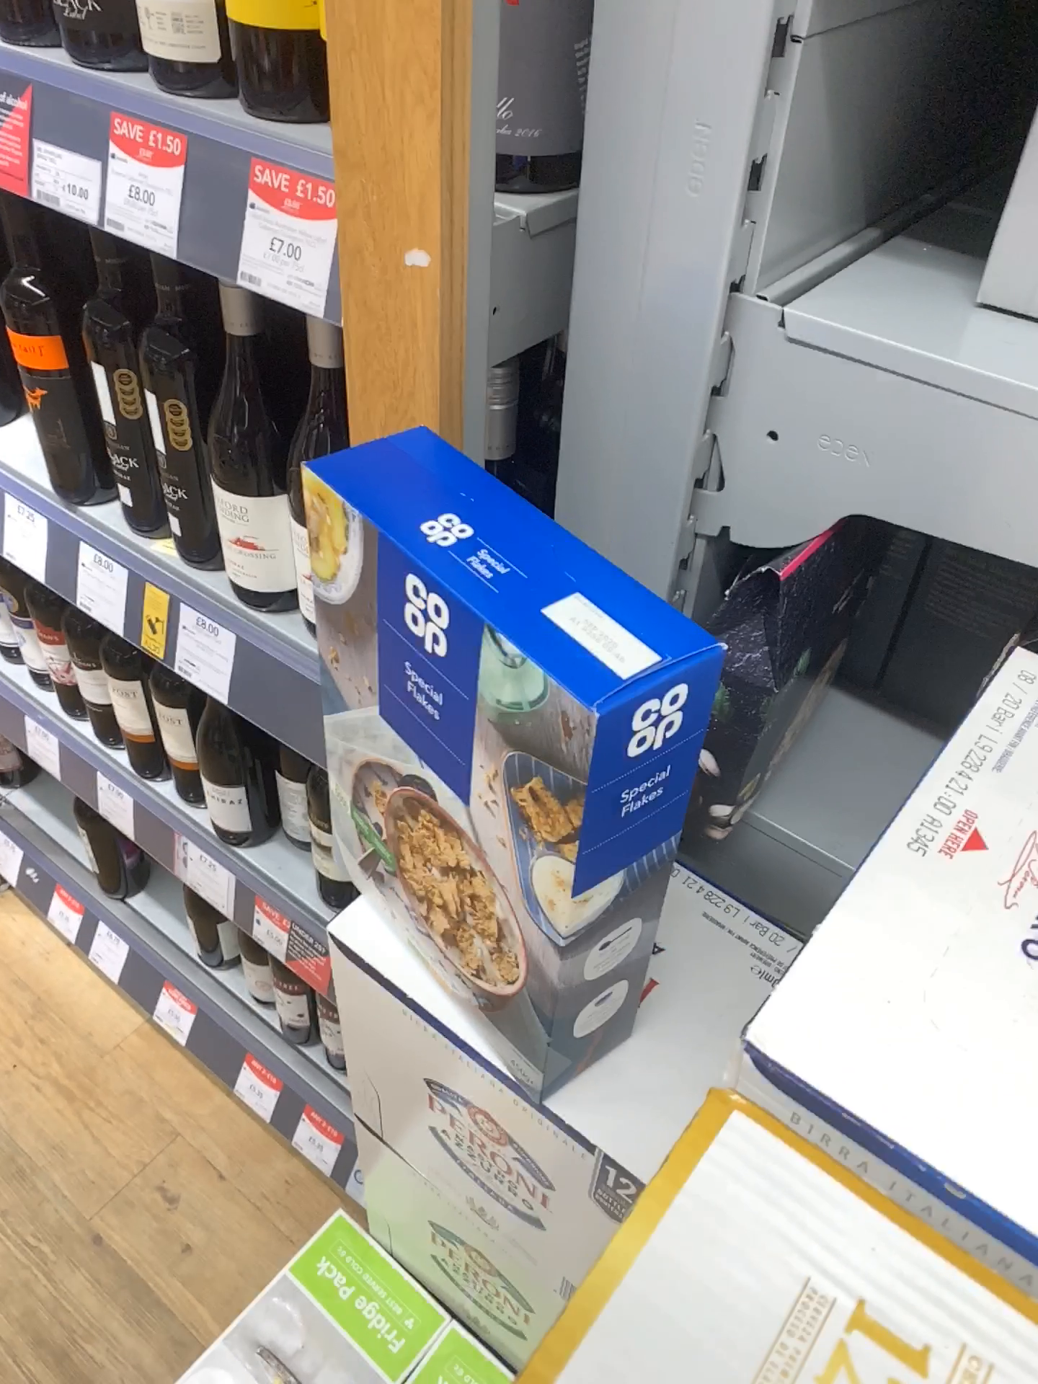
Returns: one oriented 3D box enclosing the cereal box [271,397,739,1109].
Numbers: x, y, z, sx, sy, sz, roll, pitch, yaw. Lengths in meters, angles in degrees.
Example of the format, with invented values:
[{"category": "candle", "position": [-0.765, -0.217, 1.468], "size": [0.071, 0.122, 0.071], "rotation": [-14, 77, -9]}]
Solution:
[{"category": "cereal box", "position": [-0.020, 0.034, 0.497], "size": [0.070, 0.267, 0.201], "rotation": [-27, 51, -29]}]
